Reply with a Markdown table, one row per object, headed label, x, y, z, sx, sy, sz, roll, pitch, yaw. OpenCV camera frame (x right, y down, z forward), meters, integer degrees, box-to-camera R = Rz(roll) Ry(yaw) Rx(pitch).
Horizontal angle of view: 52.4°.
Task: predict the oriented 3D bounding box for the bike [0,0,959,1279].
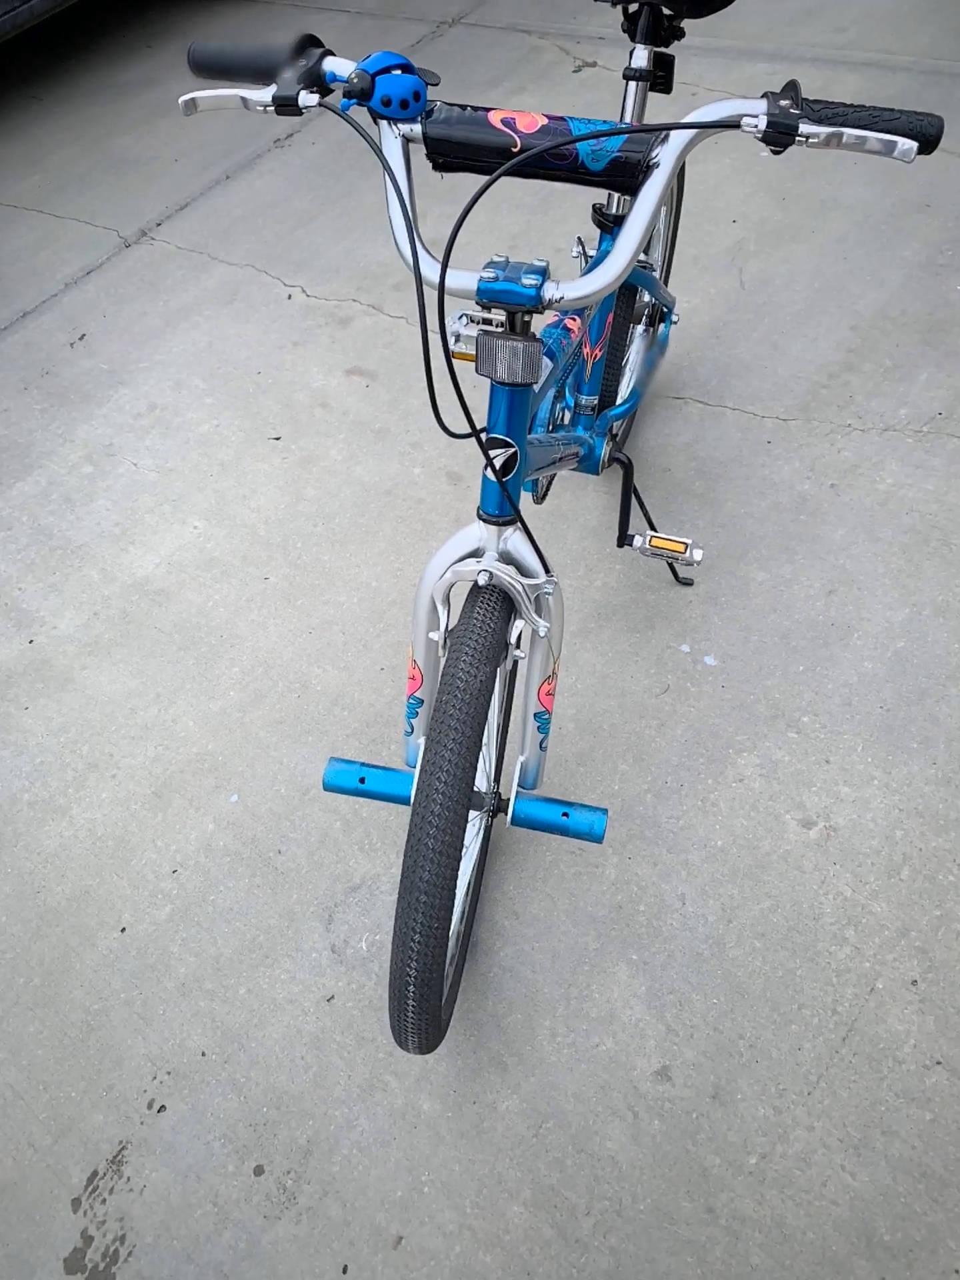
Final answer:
| label | x | y | z | sx | sy | sz | roll | pitch | yaw |
| --- | --- | --- | --- | --- | --- | --- | --- | --- | --- |
| bike | 0.197 | -0.272 | 1.108 | 0.681 | 0.837 | 1.391 | 6 | 49 | 16 |
